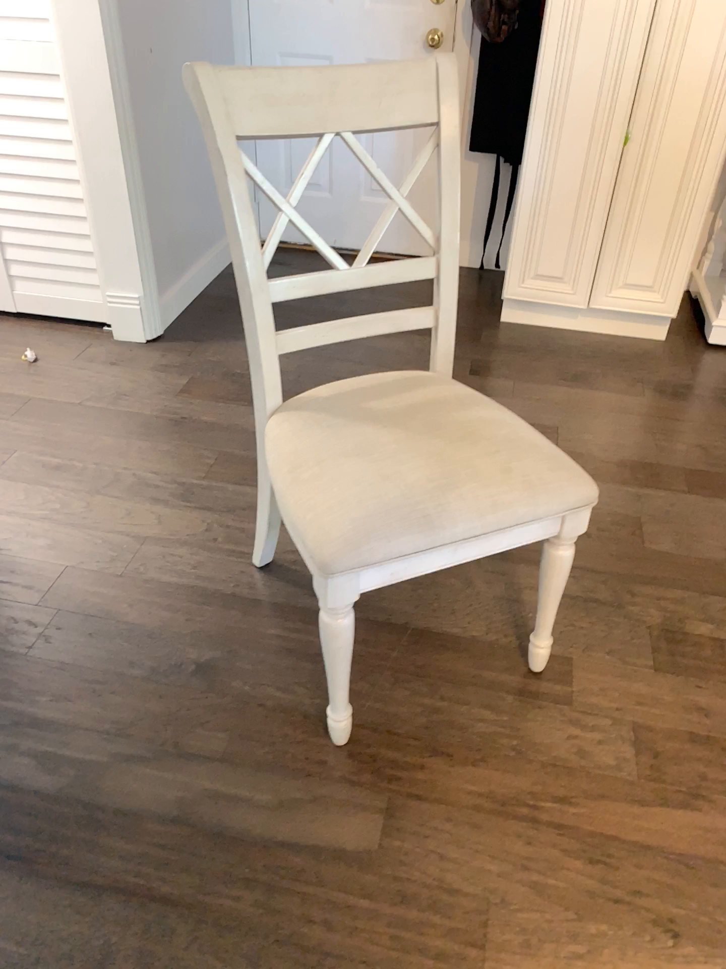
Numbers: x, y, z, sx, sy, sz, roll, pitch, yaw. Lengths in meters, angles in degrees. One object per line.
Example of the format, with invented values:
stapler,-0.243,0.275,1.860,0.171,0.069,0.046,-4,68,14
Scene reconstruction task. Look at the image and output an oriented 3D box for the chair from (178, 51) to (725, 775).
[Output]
chair,0.075,-0.145,1.238,0.530,0.924,0.654,-12,39,-19
